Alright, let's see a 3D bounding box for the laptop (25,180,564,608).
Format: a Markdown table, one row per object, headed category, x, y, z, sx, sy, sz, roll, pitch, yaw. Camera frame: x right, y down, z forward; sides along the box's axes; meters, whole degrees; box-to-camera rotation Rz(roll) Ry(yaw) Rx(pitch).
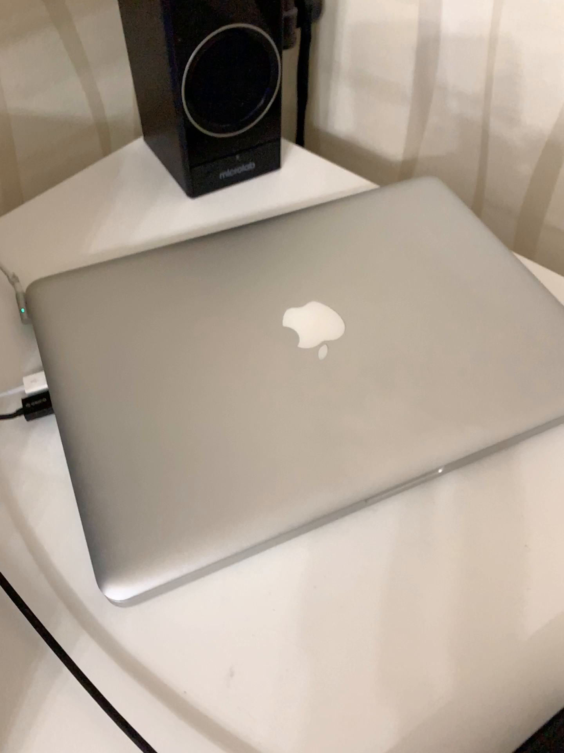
| category | x | y | z | sx | sy | sz | roll | pitch | yaw |
| --- | --- | --- | --- | --- | --- | --- | --- | --- | --- |
| laptop | 0.017 | -0.025 | 0.367 | 0.306 | 0.007 | 0.218 | -19 | 57 | -17 |
